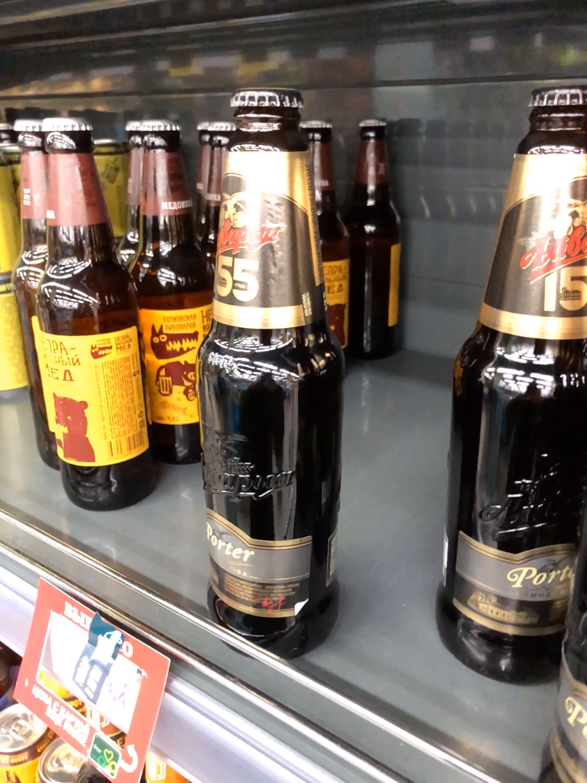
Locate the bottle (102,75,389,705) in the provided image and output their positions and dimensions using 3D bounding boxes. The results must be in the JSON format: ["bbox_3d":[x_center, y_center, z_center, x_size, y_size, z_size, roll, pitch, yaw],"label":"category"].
[{"bbox_3d":[-0.019,0.001,0.305,0.080,0.264,0.080,0,22,0],"label":"bottle"}]
